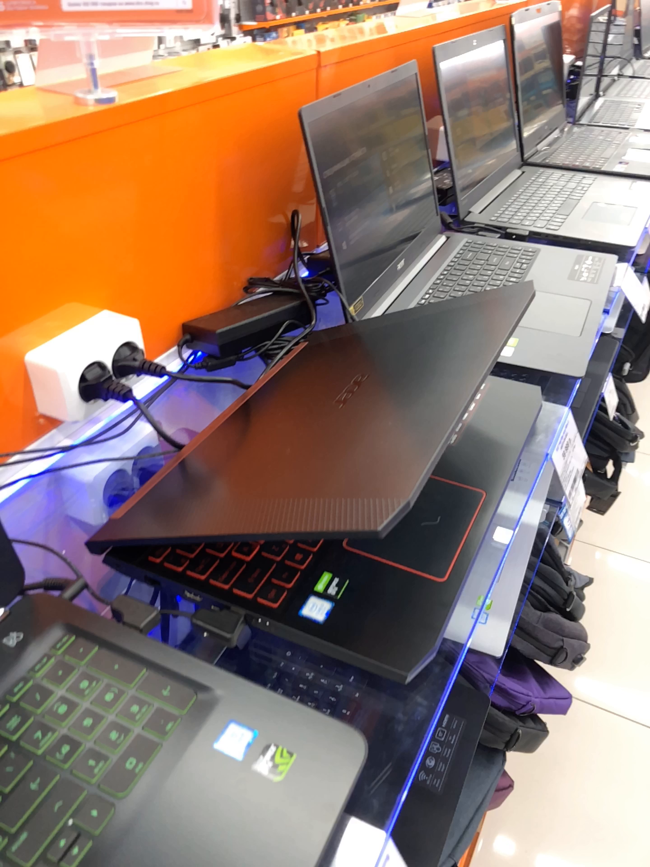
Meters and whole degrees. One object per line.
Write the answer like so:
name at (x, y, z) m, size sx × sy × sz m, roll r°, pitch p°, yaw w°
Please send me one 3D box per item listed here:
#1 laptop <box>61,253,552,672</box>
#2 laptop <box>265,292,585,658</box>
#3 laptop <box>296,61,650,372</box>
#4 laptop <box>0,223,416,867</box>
laptop at (0.017, -0.021, 0.579) m, size 0.248 × 0.103 × 0.359 m, roll 15°, pitch 37°, yaw 21°
laptop at (0.146, 0.018, 0.952) m, size 0.296 × 0.220 × 0.406 m, roll 14°, pitch 38°, yaw 21°
laptop at (0.188, -0.282, 0.844) m, size 0.312 × 0.226 × 0.344 m, roll 15°, pitch 37°, yaw 20°
laptop at (-0.209, 0.135, 0.226) m, size 0.310 × 0.250 × 0.416 m, roll 15°, pitch 37°, yaw 21°
